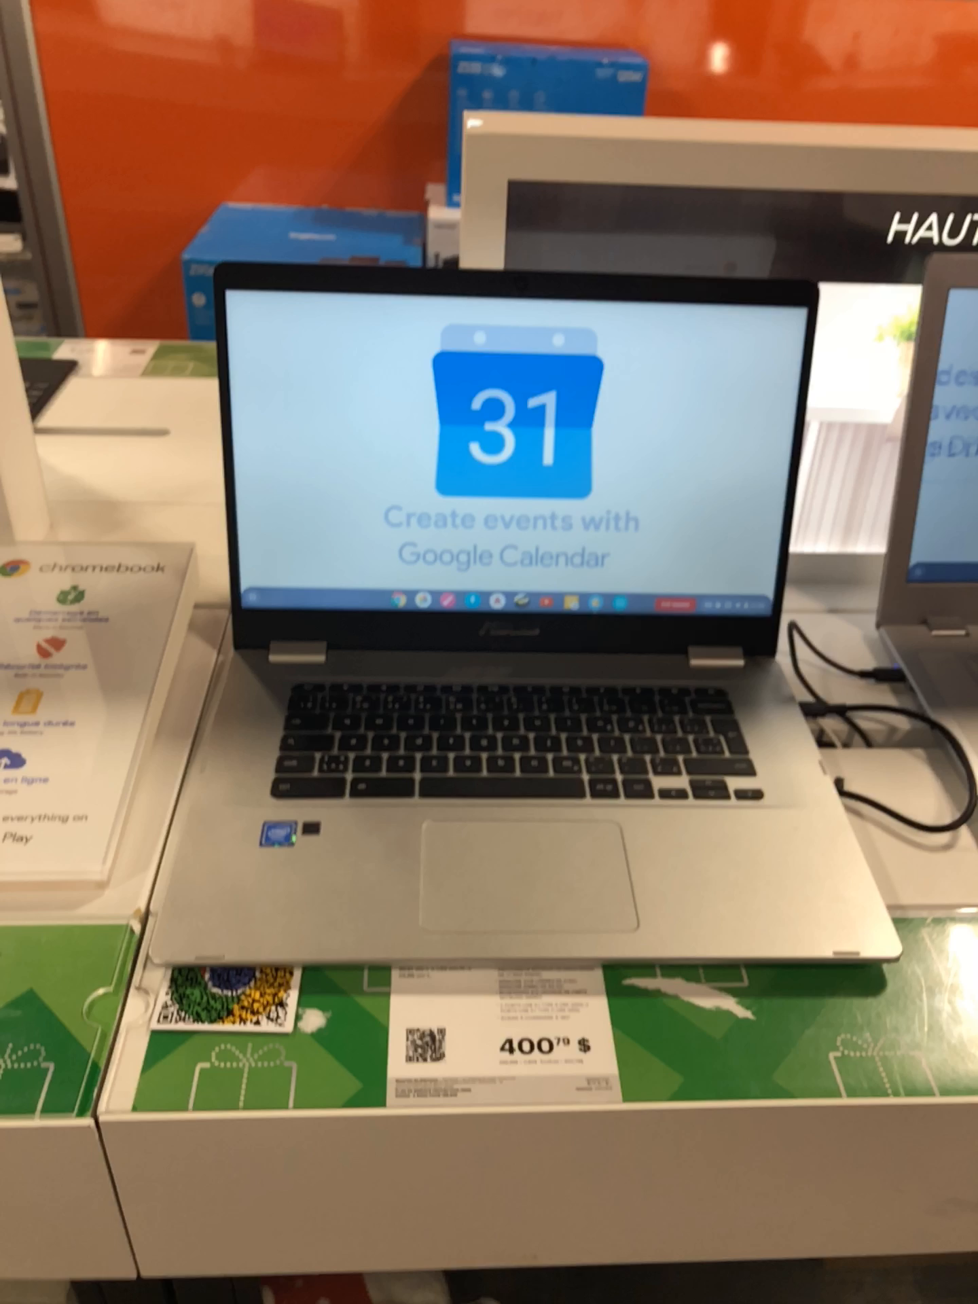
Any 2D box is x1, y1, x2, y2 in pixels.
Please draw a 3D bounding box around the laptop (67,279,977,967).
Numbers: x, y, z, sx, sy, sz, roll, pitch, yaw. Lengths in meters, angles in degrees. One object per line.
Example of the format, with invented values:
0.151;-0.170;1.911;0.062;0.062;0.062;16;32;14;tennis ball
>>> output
0.024;-0.035;0.551;0.337;0.225;0.287;0;34;-2;laptop
